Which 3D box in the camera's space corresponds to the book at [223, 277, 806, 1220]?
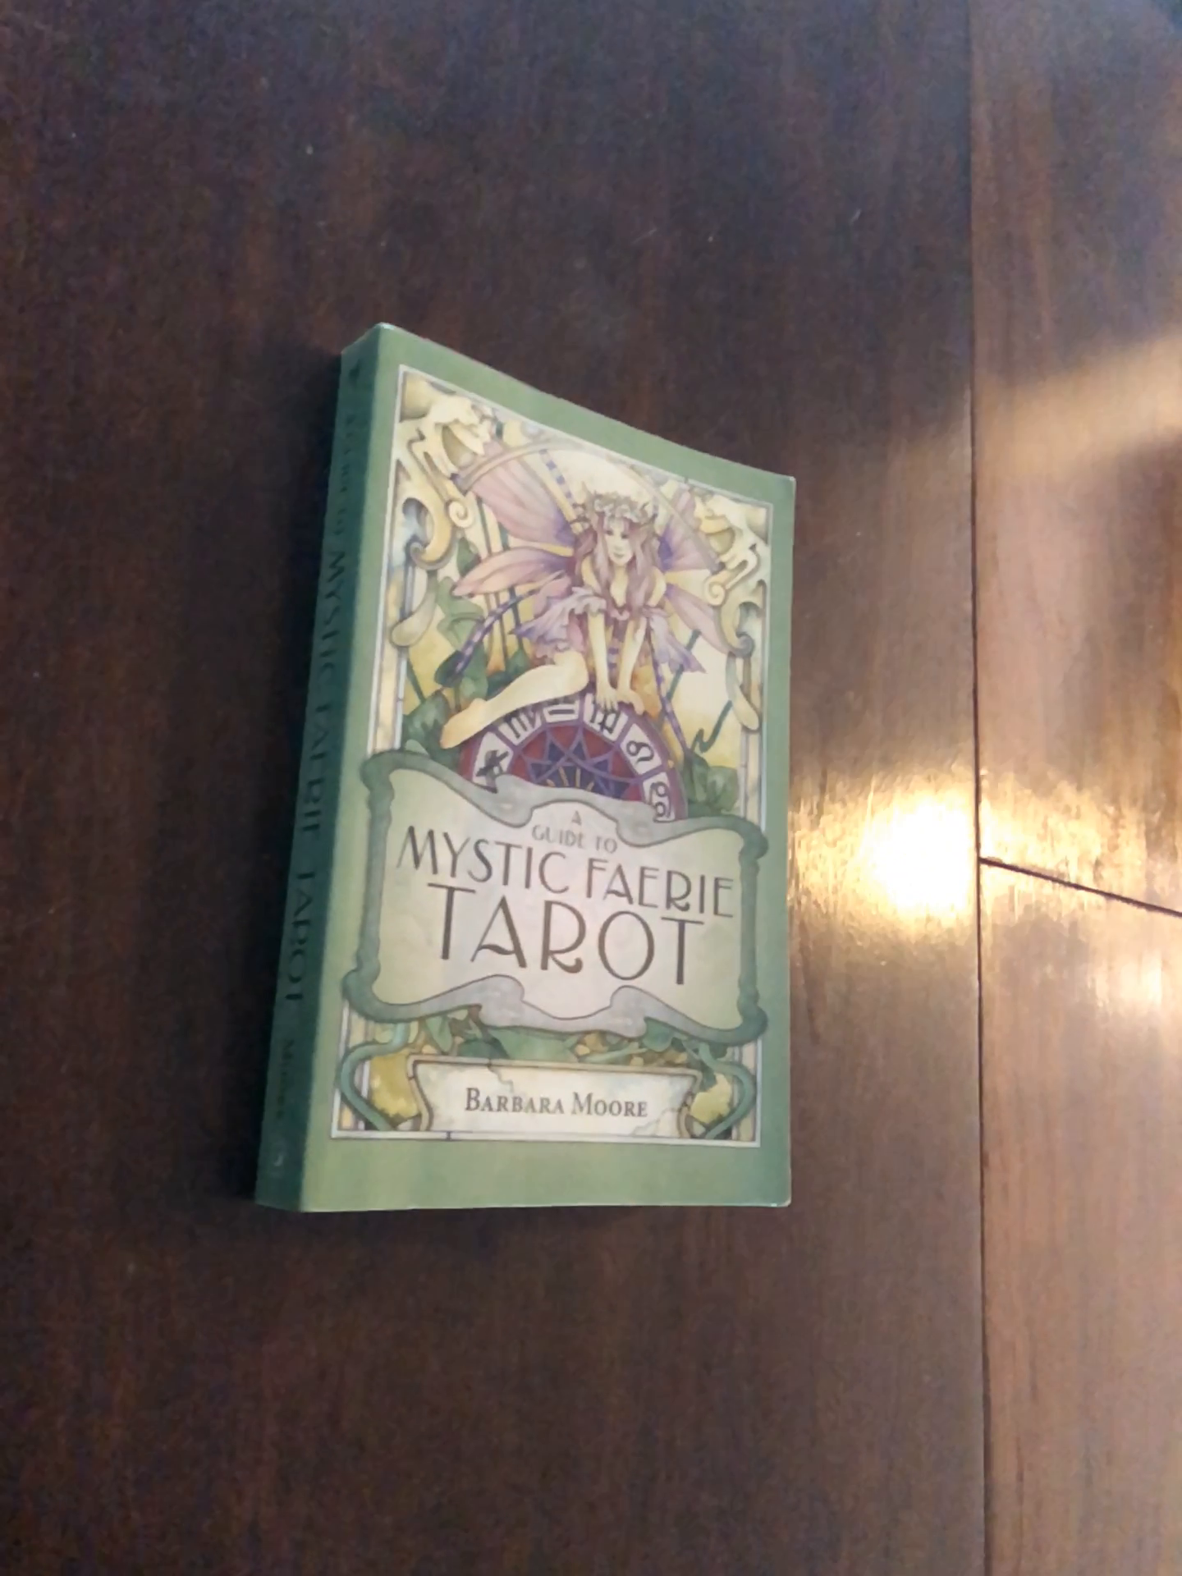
[{"bbox_3d":[-0.008,-0.002,0.333,0.140,0.032,0.208,13,74,-36],"label":"book"}]
